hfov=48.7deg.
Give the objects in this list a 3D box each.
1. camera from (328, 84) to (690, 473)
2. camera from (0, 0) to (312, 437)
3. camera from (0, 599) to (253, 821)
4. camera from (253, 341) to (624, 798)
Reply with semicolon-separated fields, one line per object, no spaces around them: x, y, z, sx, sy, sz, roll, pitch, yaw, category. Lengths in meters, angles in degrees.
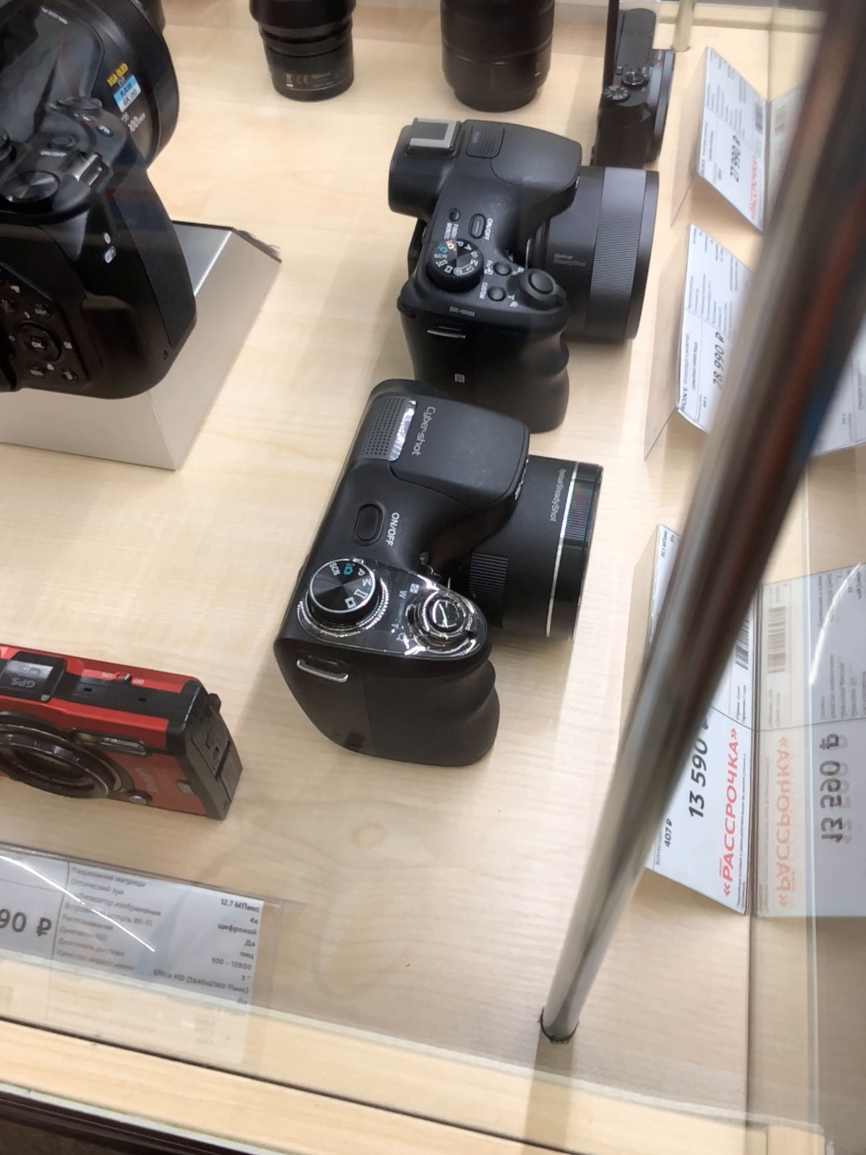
0.037;-0.133;0.423;0.125;0.097;0.124;9;55;9;camera
-0.137;-0.156;0.344;0.132;0.106;0.169;8;55;8;camera
-0.122;0.044;0.309;0.111;0.069;0.026;8;55;8;camera
0.009;-0.005;0.333;0.091;0.078;0.124;9;55;9;camera
